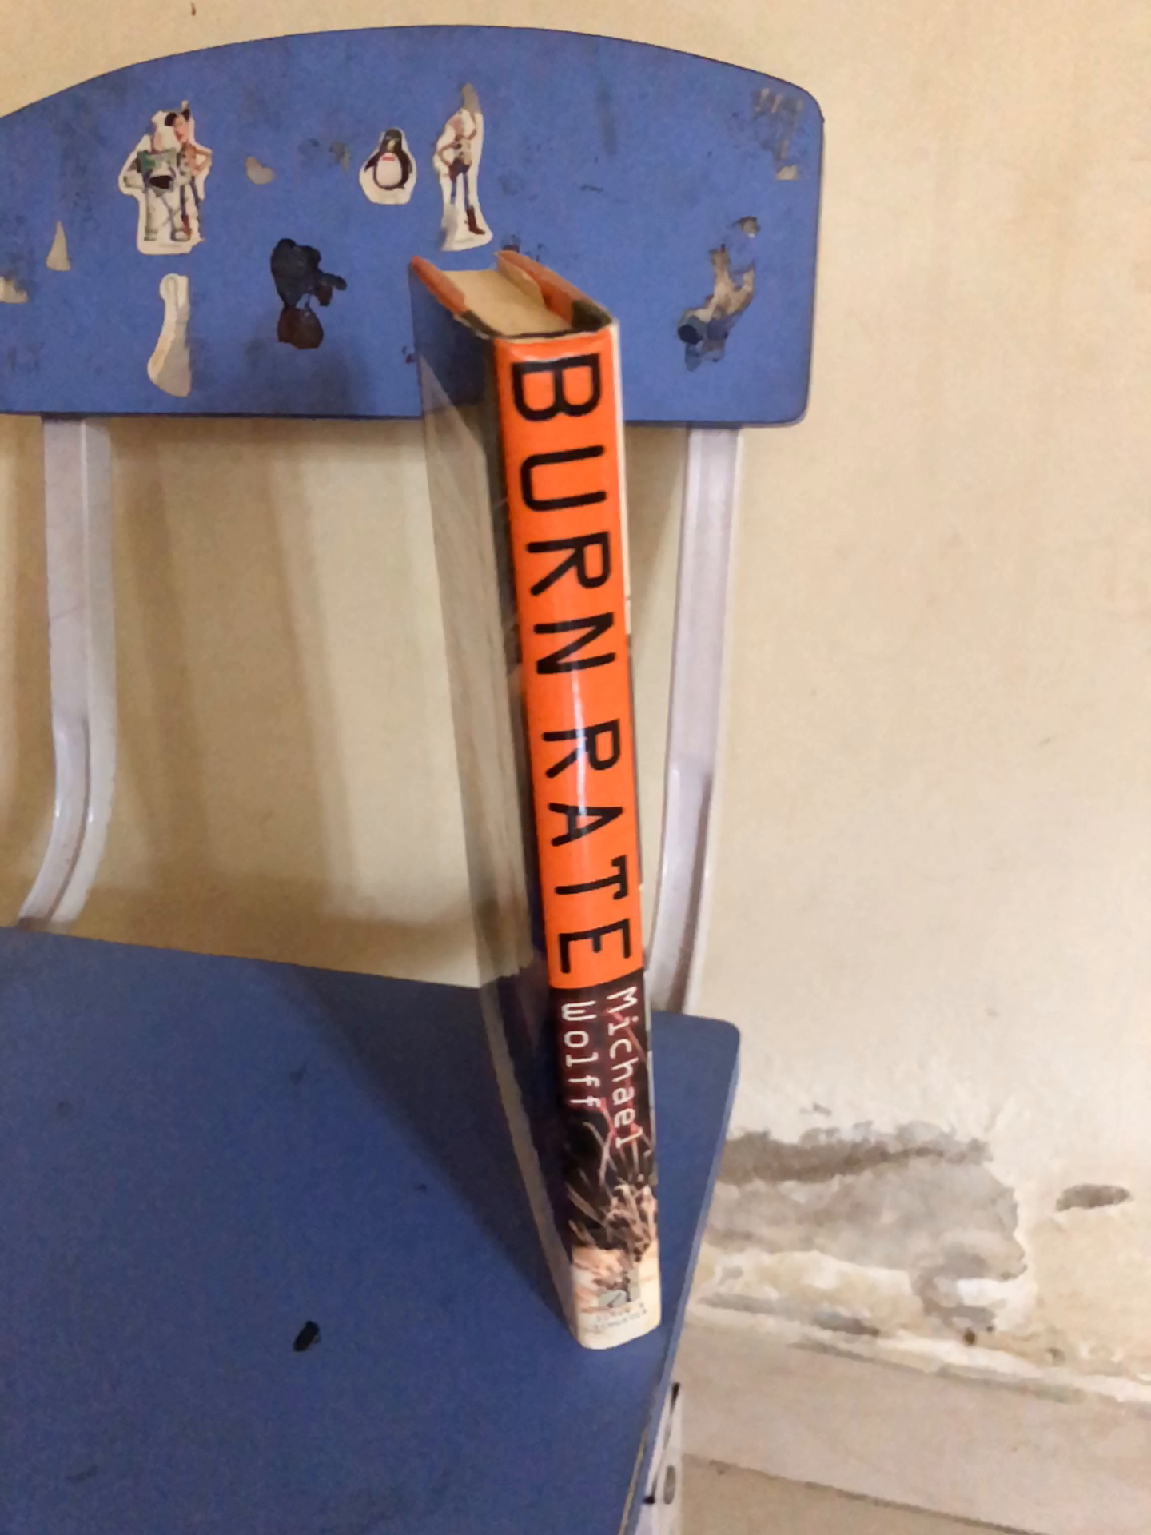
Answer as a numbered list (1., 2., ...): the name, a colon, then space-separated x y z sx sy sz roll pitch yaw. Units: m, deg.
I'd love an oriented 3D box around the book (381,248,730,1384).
1. book: -0.010 -0.006 0.346 0.040 0.239 0.201 -8 25 -10
